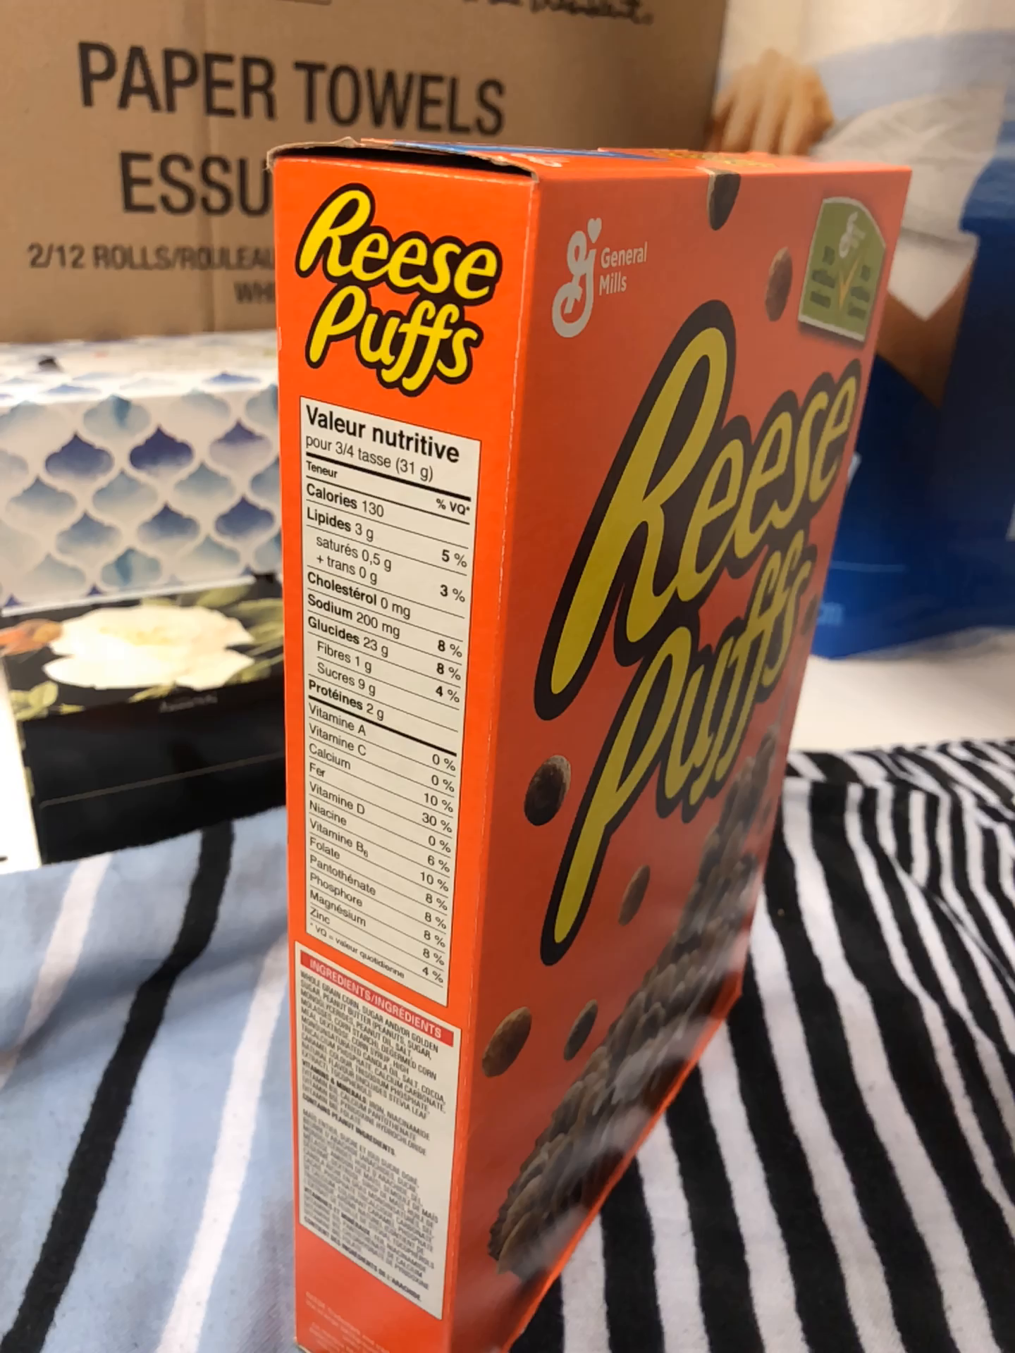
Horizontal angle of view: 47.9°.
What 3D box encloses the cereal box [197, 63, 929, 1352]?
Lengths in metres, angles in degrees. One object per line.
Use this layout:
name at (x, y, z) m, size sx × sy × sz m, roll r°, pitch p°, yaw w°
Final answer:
cereal box at (0.026, 0.014, 0.272) m, size 0.040 × 0.269 × 0.211 m, roll 17°, pitch 29°, yaw 27°
